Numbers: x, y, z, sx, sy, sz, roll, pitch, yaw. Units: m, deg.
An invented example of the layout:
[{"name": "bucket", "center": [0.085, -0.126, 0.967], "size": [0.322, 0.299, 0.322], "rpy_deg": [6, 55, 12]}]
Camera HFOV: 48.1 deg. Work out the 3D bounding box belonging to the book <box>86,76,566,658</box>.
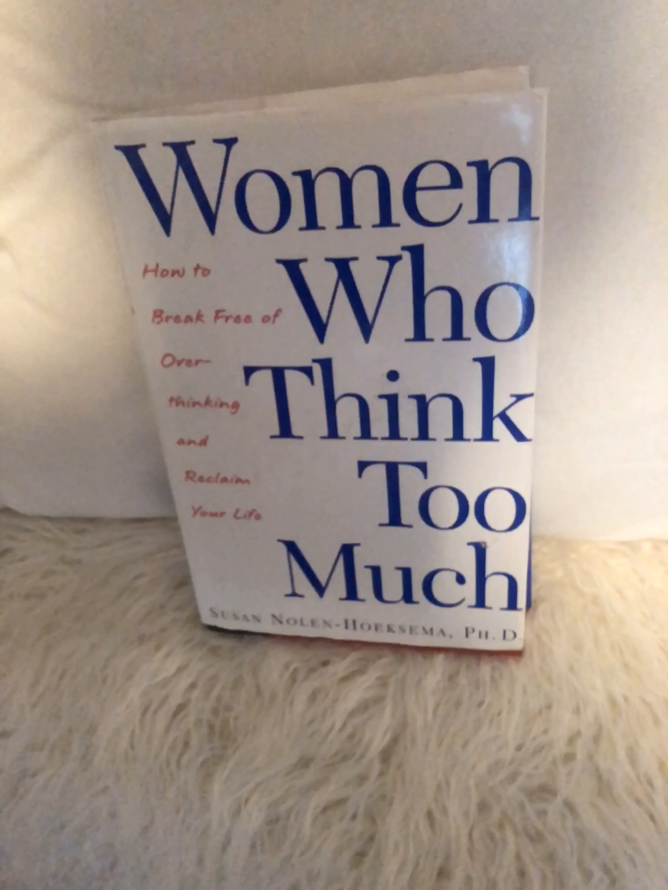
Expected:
[{"name": "book", "center": [0.004, -0.020, 0.325], "size": [0.166, 0.240, 0.040], "rpy_deg": [1, 27, 11]}]
